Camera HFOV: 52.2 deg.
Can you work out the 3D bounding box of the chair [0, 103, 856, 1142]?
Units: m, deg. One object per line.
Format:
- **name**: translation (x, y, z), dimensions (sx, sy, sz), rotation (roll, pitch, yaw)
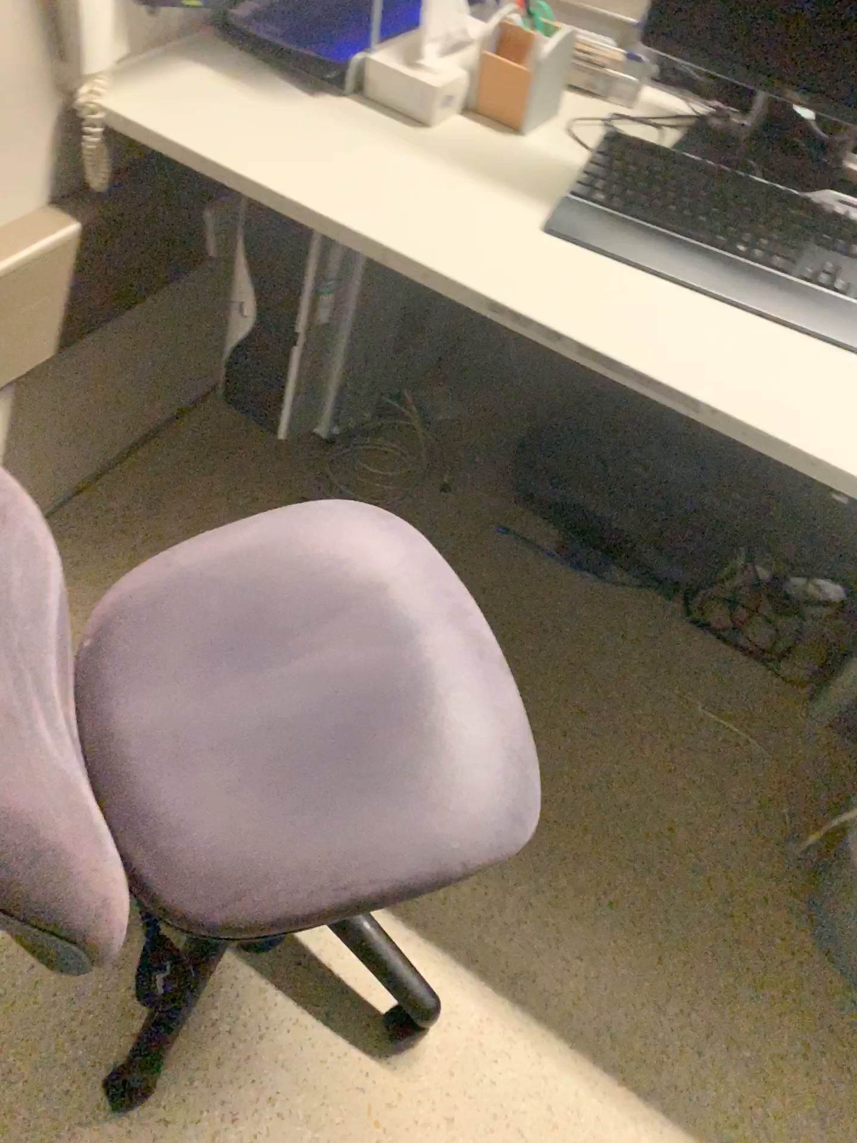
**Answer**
- **chair**: translation (-0.209, 0.149, 0.936), dimensions (0.681, 0.903, 0.674), rotation (-16, 57, -19)
